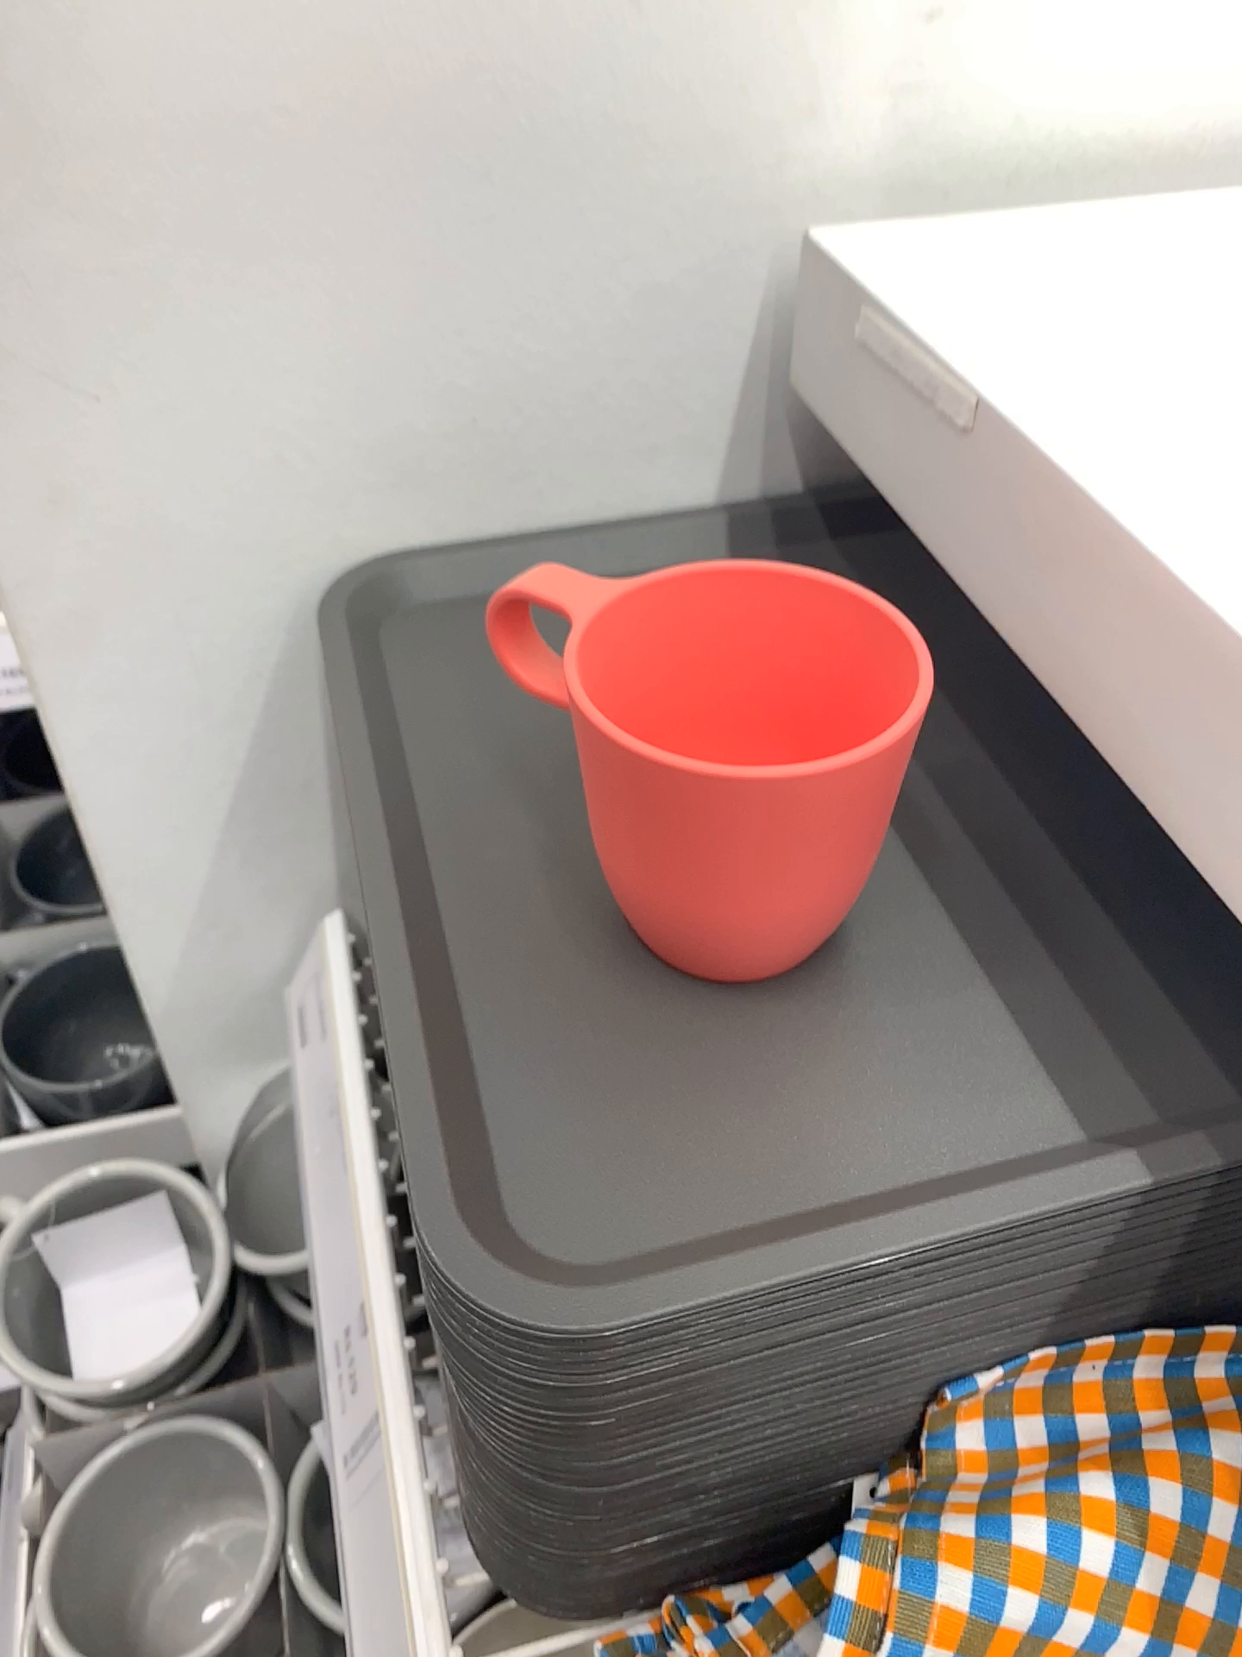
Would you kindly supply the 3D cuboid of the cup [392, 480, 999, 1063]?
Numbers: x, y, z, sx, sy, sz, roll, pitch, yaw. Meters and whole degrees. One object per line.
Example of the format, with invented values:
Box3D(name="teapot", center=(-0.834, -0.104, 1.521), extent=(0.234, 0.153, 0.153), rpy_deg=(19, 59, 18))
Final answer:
Box3D(name="cup", center=(0.016, -0.017, 0.303), extent=(0.110, 0.080, 0.070), rpy_deg=(23, 47, 22))
